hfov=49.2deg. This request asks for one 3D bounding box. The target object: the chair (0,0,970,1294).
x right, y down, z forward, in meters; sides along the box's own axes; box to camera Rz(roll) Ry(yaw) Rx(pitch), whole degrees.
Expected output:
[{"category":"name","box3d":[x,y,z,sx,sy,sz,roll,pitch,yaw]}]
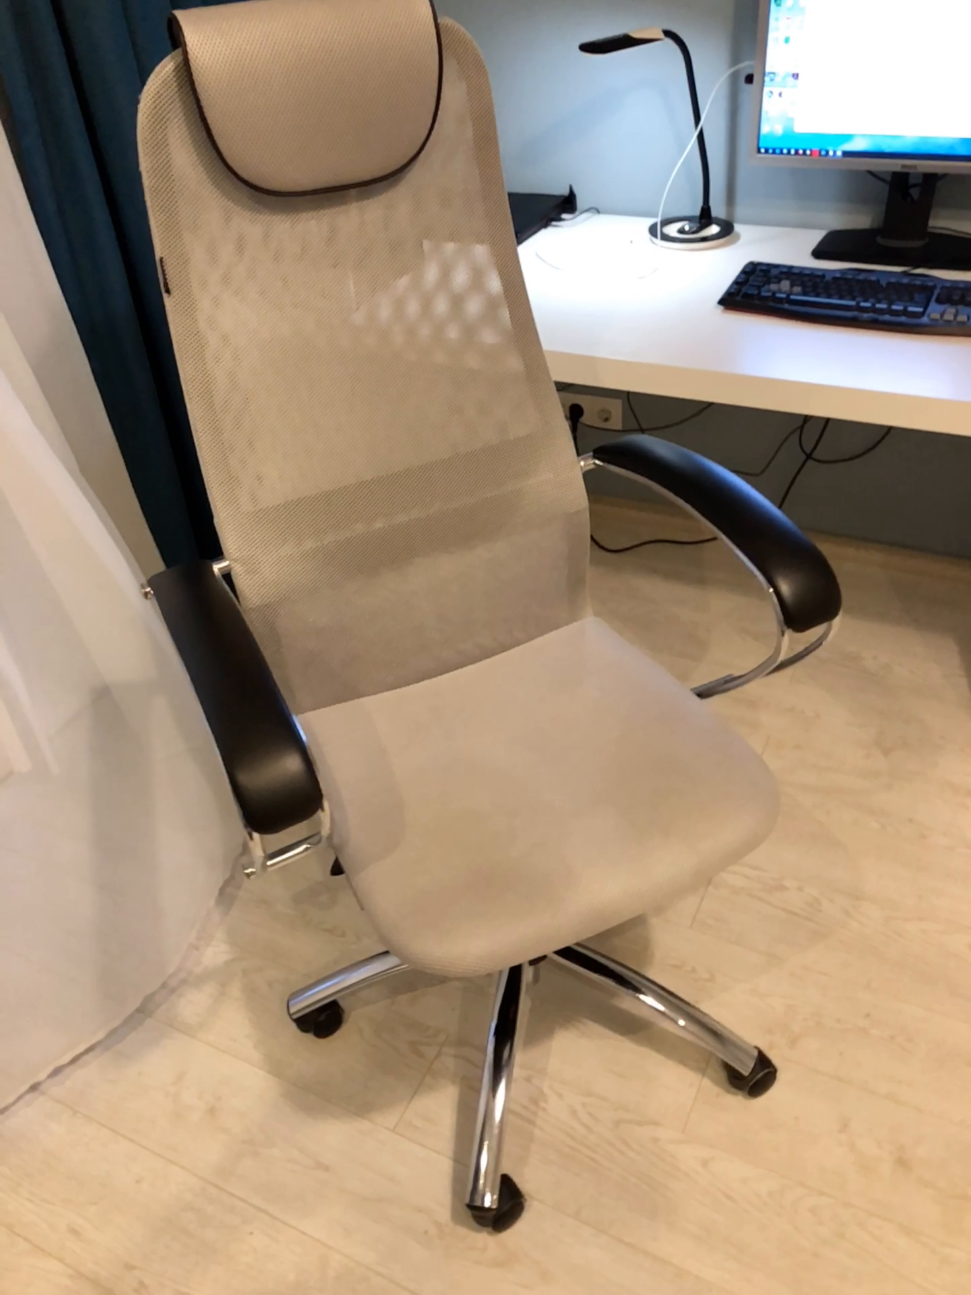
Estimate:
[{"category":"chair","box3d":[0.008,0.017,1.235,0.691,1.291,0.684,-19,39,-18]}]
